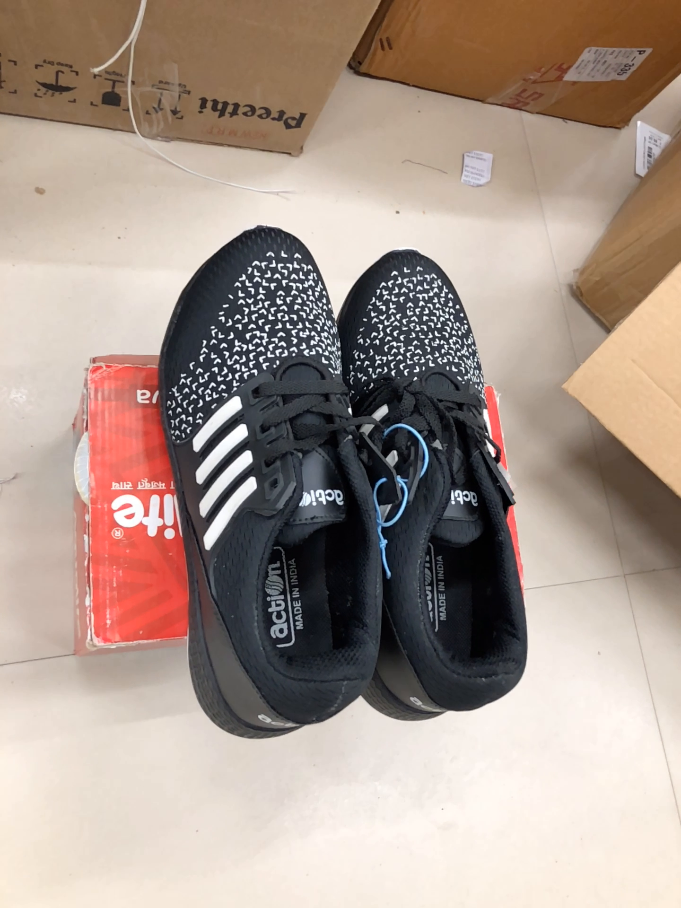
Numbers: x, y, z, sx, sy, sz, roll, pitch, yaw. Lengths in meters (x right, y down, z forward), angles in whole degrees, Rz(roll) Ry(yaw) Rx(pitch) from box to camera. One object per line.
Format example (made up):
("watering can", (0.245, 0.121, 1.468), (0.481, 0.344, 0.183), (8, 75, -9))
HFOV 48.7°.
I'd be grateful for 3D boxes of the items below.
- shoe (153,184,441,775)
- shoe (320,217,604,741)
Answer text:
("shoe", (-0.034, 0.013, 0.397), (0.112, 0.102, 0.267), (2, 74, -22))
("shoe", (0.059, 0.016, 0.436), (0.102, 0.102, 0.267), (4, 73, -22))
